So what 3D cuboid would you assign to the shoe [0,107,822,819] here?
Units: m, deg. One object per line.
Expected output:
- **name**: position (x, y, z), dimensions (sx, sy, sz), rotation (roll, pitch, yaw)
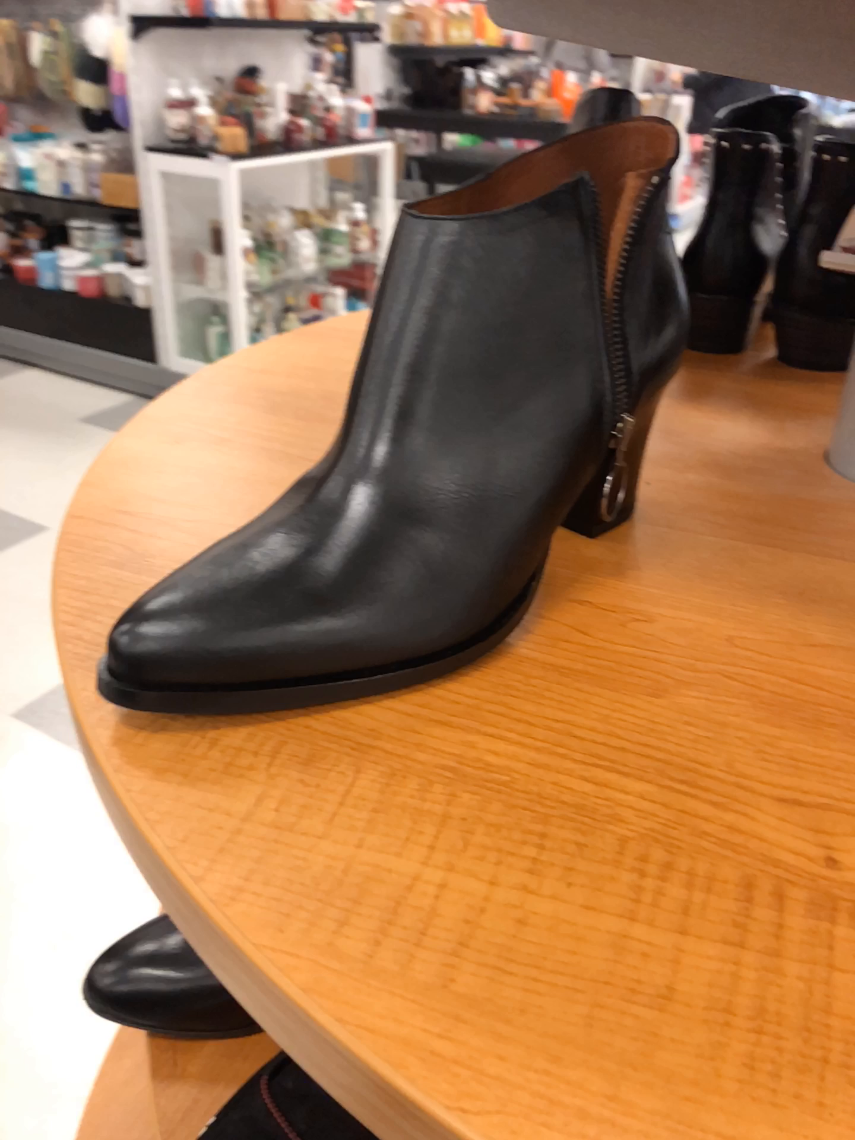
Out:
- **shoe**: position (0.006, -0.063, 0.323), dimensions (0.258, 0.156, 0.101), rotation (-24, 38, -36)
